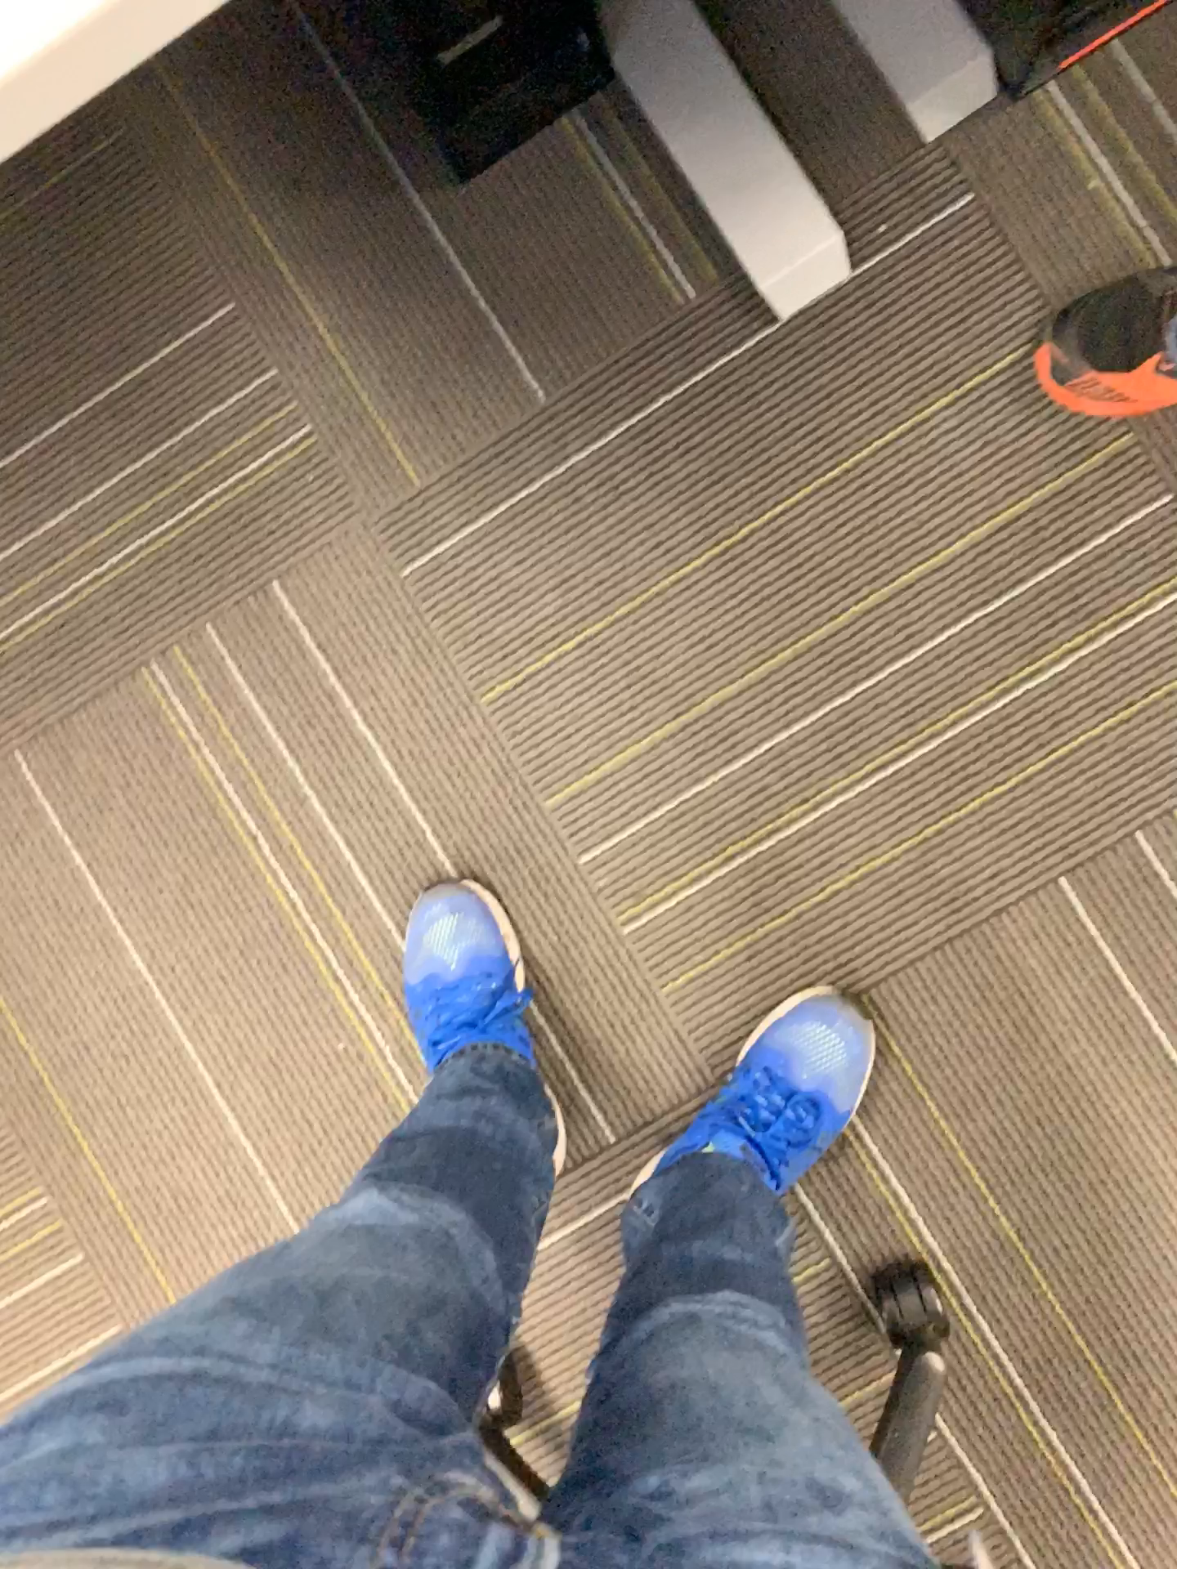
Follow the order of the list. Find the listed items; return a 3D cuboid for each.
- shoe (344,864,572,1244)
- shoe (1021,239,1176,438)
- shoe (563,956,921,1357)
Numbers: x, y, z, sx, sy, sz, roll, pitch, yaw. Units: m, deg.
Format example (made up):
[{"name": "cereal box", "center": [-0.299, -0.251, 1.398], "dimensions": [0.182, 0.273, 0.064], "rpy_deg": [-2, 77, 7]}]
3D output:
[{"name": "shoe", "center": [-0.113, 0.241, 1.076], "dimensions": [0.141, 0.088, 0.310], "rpy_deg": [-8, 98, 7]}, {"name": "shoe", "center": [0.501, -0.338, 0.910], "dimensions": [0.304, 0.088, 0.117], "rpy_deg": [0, 112, 10]}, {"name": "shoe", "center": [0.133, 0.327, 1.054], "dimensions": [0.119, 0.088, 0.339], "rpy_deg": [38, 103, 6]}]
